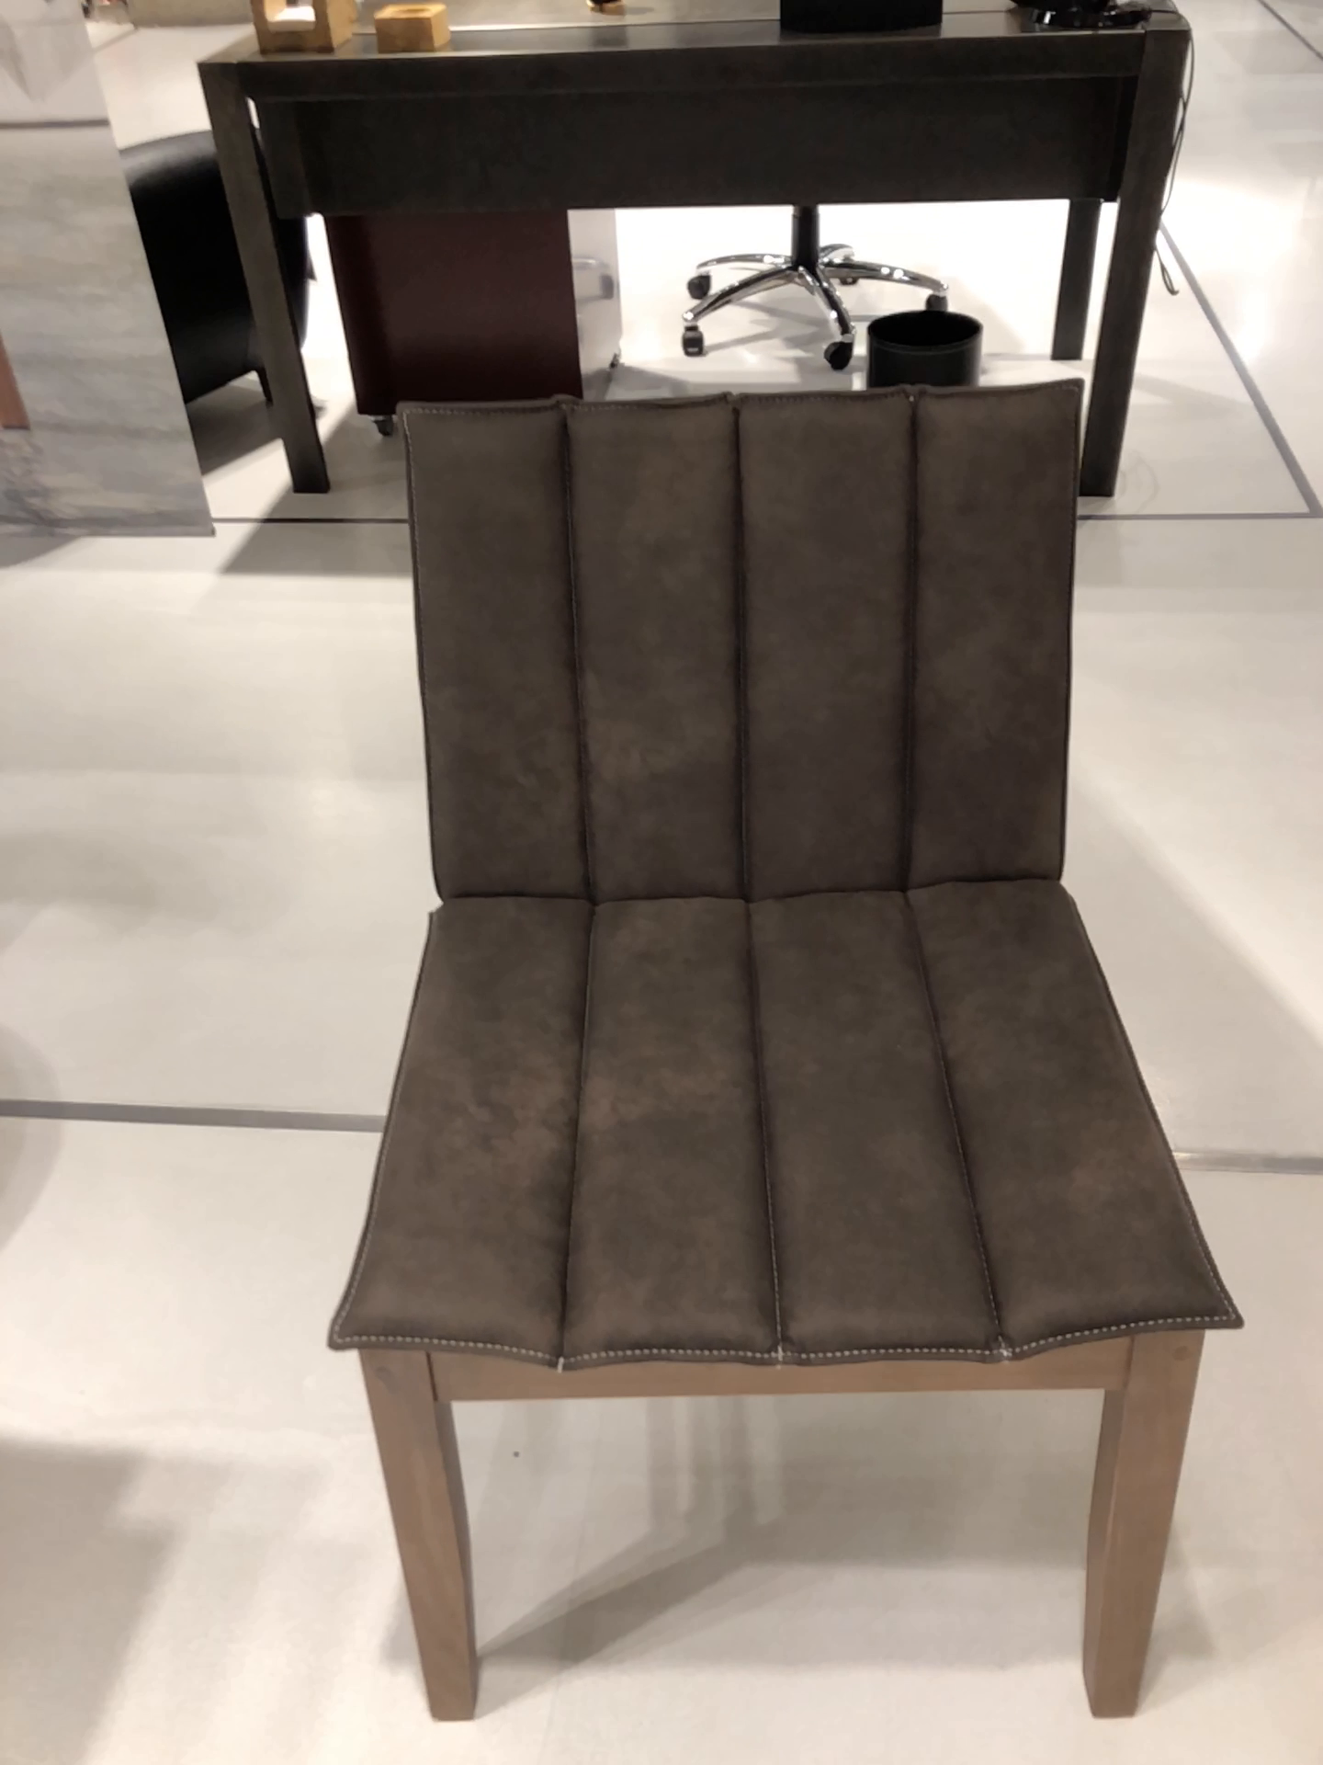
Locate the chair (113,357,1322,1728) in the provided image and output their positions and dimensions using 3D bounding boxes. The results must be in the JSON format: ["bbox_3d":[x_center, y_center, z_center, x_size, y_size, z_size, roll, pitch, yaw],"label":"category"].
[{"bbox_3d":[0.080,0.129,1.029,0.540,0.774,0.574,-2,39,3],"label":"chair"}]
